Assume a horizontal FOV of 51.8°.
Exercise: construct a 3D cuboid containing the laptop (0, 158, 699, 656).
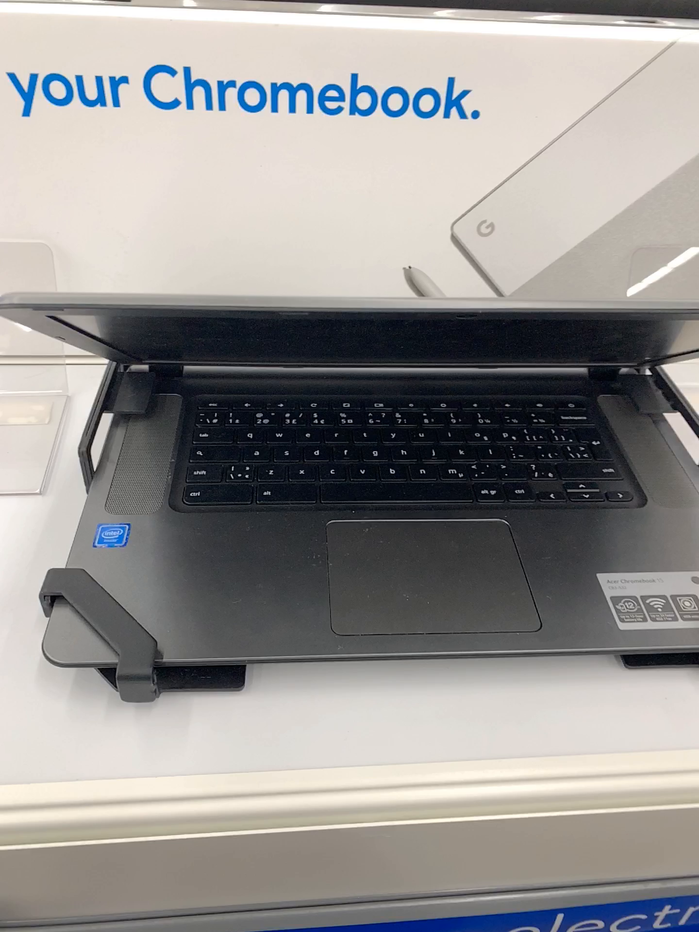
[{"bbox_3d":[0.030,-0.038,0.319,0.301,0.116,0.194,0,42,-4],"label":"laptop"}]
